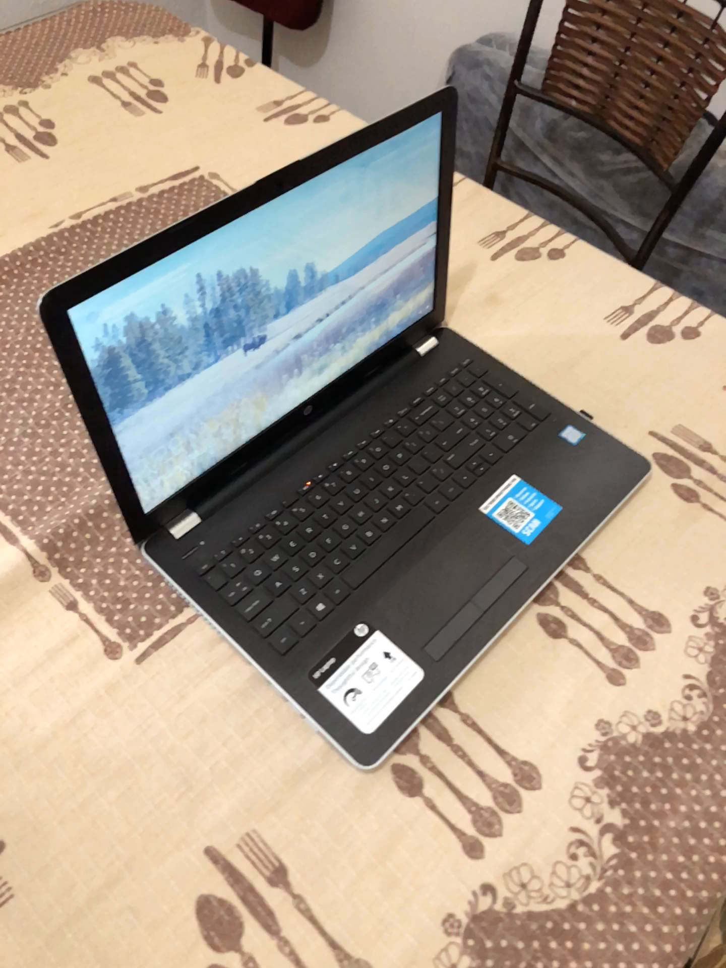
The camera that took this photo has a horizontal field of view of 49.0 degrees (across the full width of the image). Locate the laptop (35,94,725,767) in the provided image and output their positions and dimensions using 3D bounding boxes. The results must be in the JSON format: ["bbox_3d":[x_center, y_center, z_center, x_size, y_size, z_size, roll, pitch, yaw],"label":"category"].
[{"bbox_3d":[0.035,-0.057,0.564,0.268,0.226,0.361,38,60,23],"label":"laptop"}]
